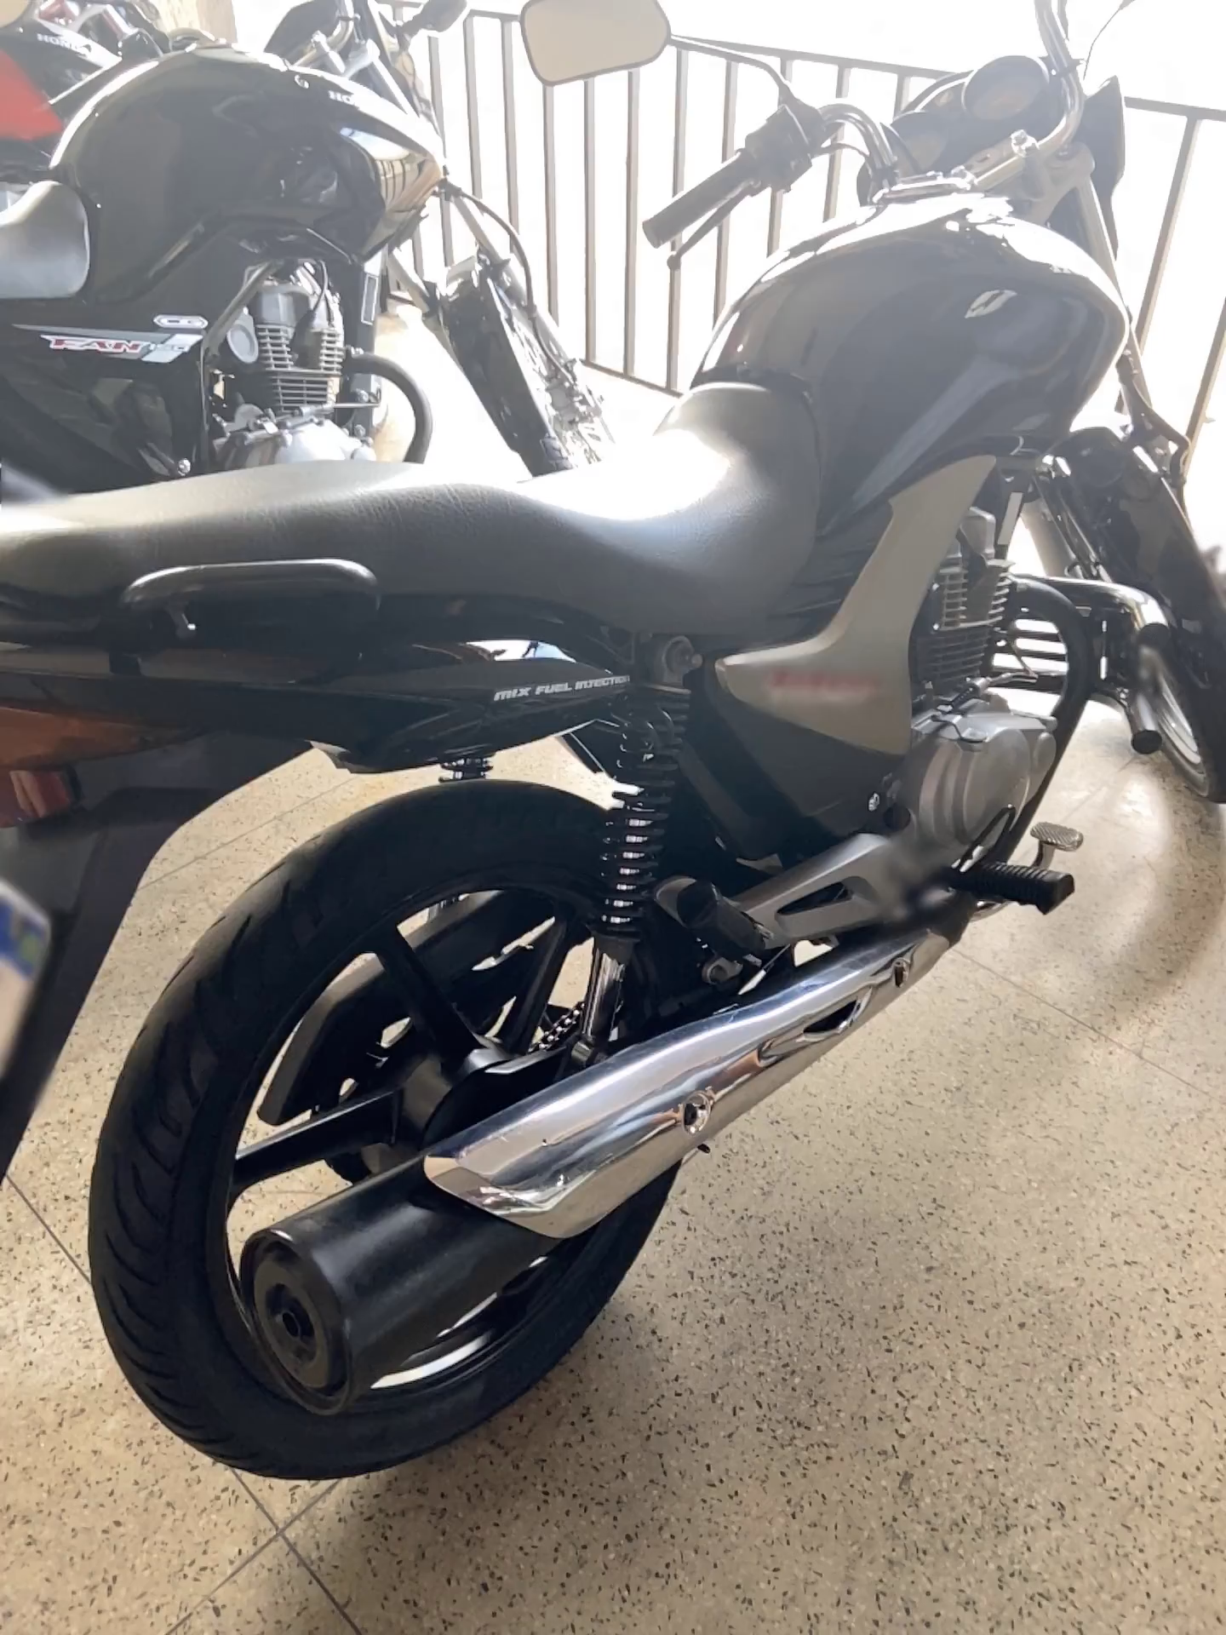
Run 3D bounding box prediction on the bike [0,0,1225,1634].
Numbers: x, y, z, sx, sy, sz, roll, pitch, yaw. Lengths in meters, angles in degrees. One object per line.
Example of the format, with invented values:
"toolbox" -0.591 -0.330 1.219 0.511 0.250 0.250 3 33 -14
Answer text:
"bike" 0.129 -0.292 1.359 0.774 1.137 1.744 26 42 30
